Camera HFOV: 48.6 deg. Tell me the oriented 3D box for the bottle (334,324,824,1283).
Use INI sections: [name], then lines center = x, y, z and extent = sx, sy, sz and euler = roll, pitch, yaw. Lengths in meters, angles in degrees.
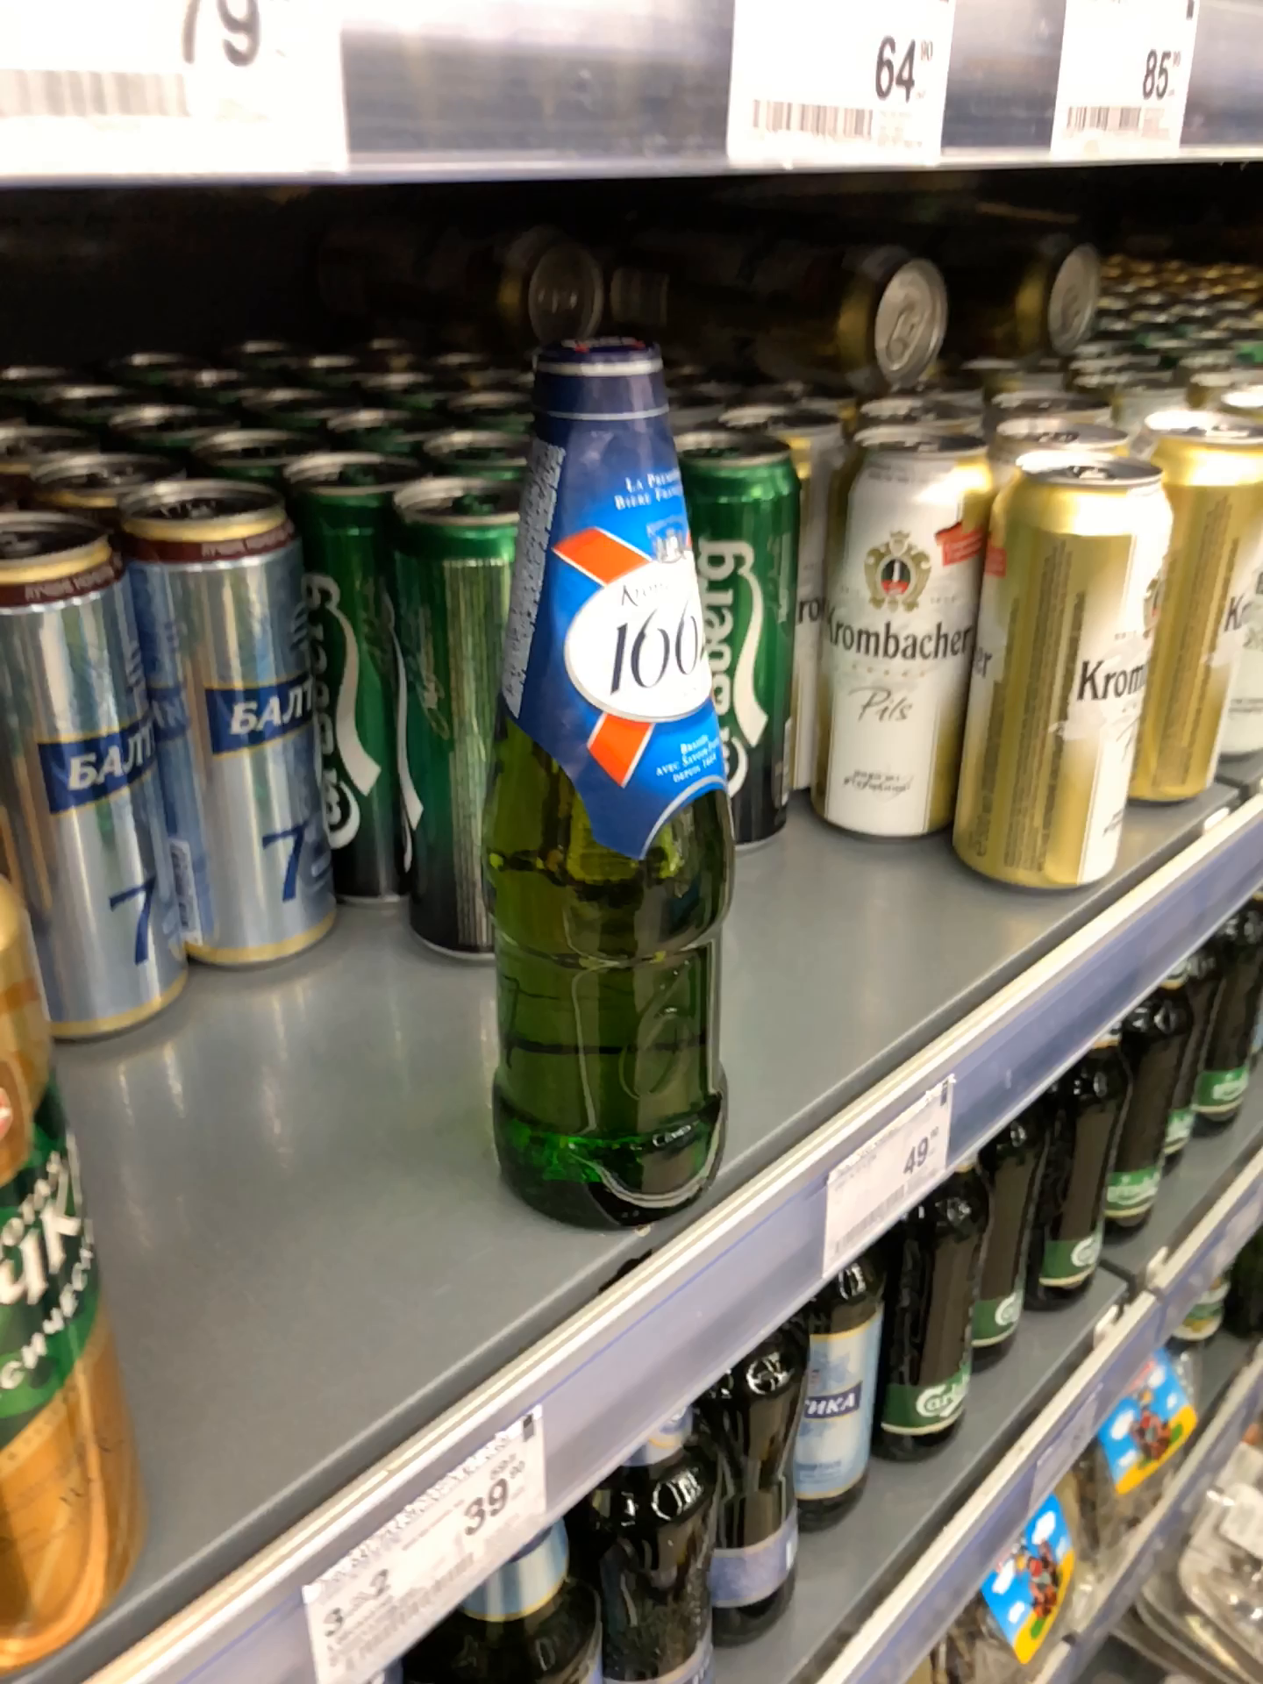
[bottle]
center = -0.013, -0.010, 0.374
extent = 0.080, 0.229, 0.080
euler = 1, 26, 0
